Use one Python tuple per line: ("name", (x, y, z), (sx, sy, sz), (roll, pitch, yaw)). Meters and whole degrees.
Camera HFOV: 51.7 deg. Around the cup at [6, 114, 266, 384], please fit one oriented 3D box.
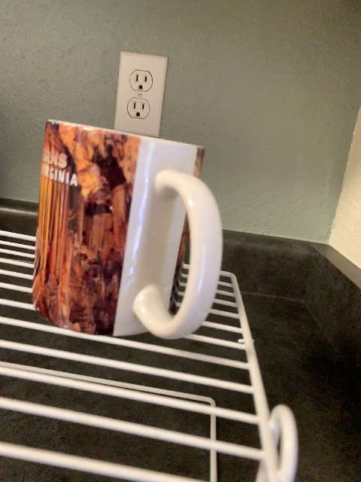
("cup", (-0.036, -0.011, 0.190), (0.080, 0.090, 0.120), (-1, 17, -32))
